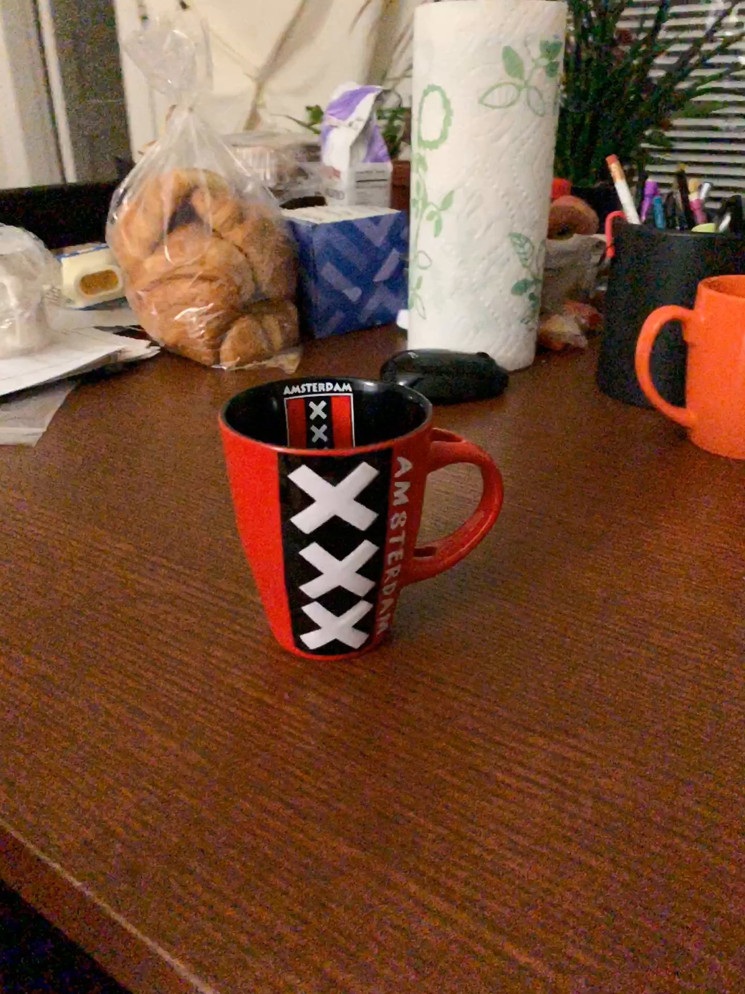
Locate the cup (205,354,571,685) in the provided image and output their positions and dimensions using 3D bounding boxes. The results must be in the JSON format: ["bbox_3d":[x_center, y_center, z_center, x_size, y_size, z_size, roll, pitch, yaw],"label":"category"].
[{"bbox_3d":[0.000,0.004,0.329,0.130,0.099,0.091,-5,27,-9],"label":"cup"}]
